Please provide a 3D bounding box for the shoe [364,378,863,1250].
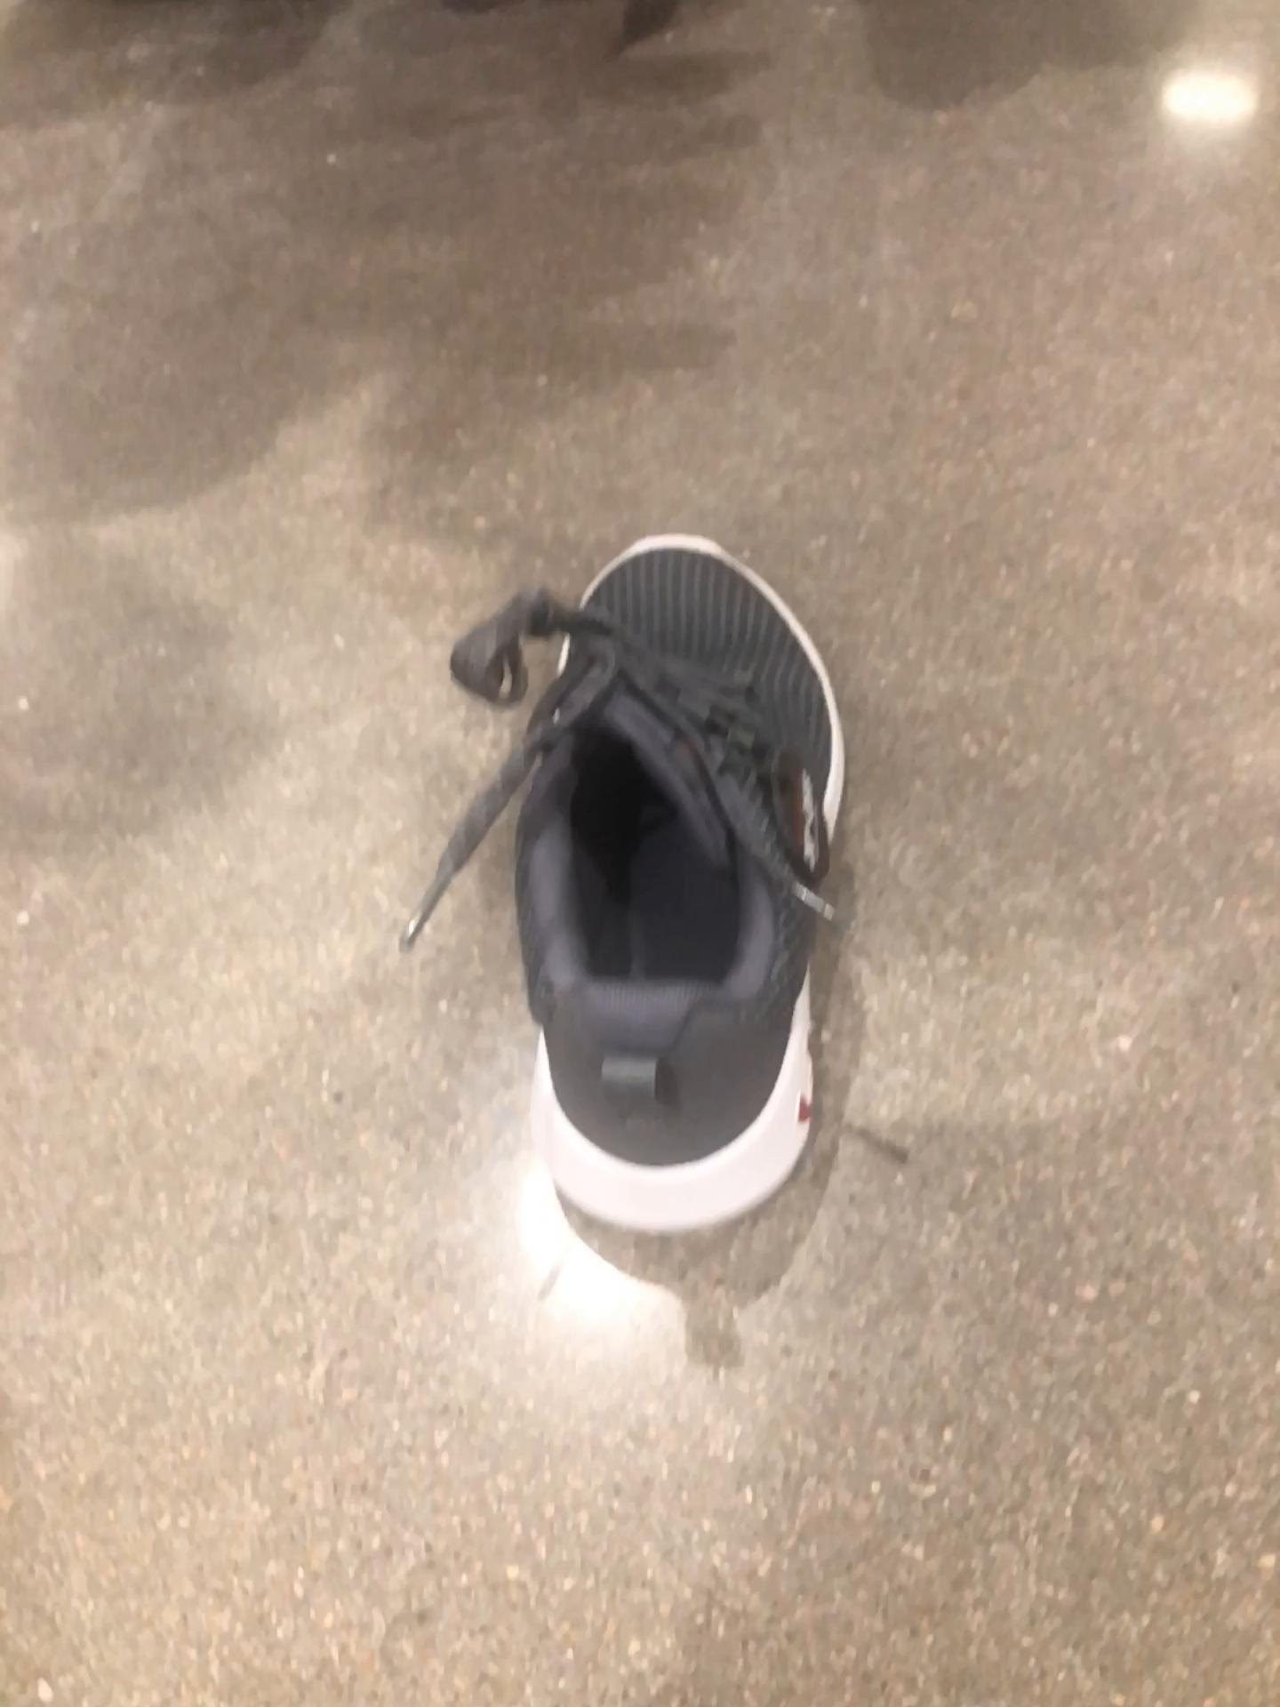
[{"bbox_3d":[0.005,-0.024,0.436,0.116,0.085,0.265,0,55,7],"label":"shoe"}]
